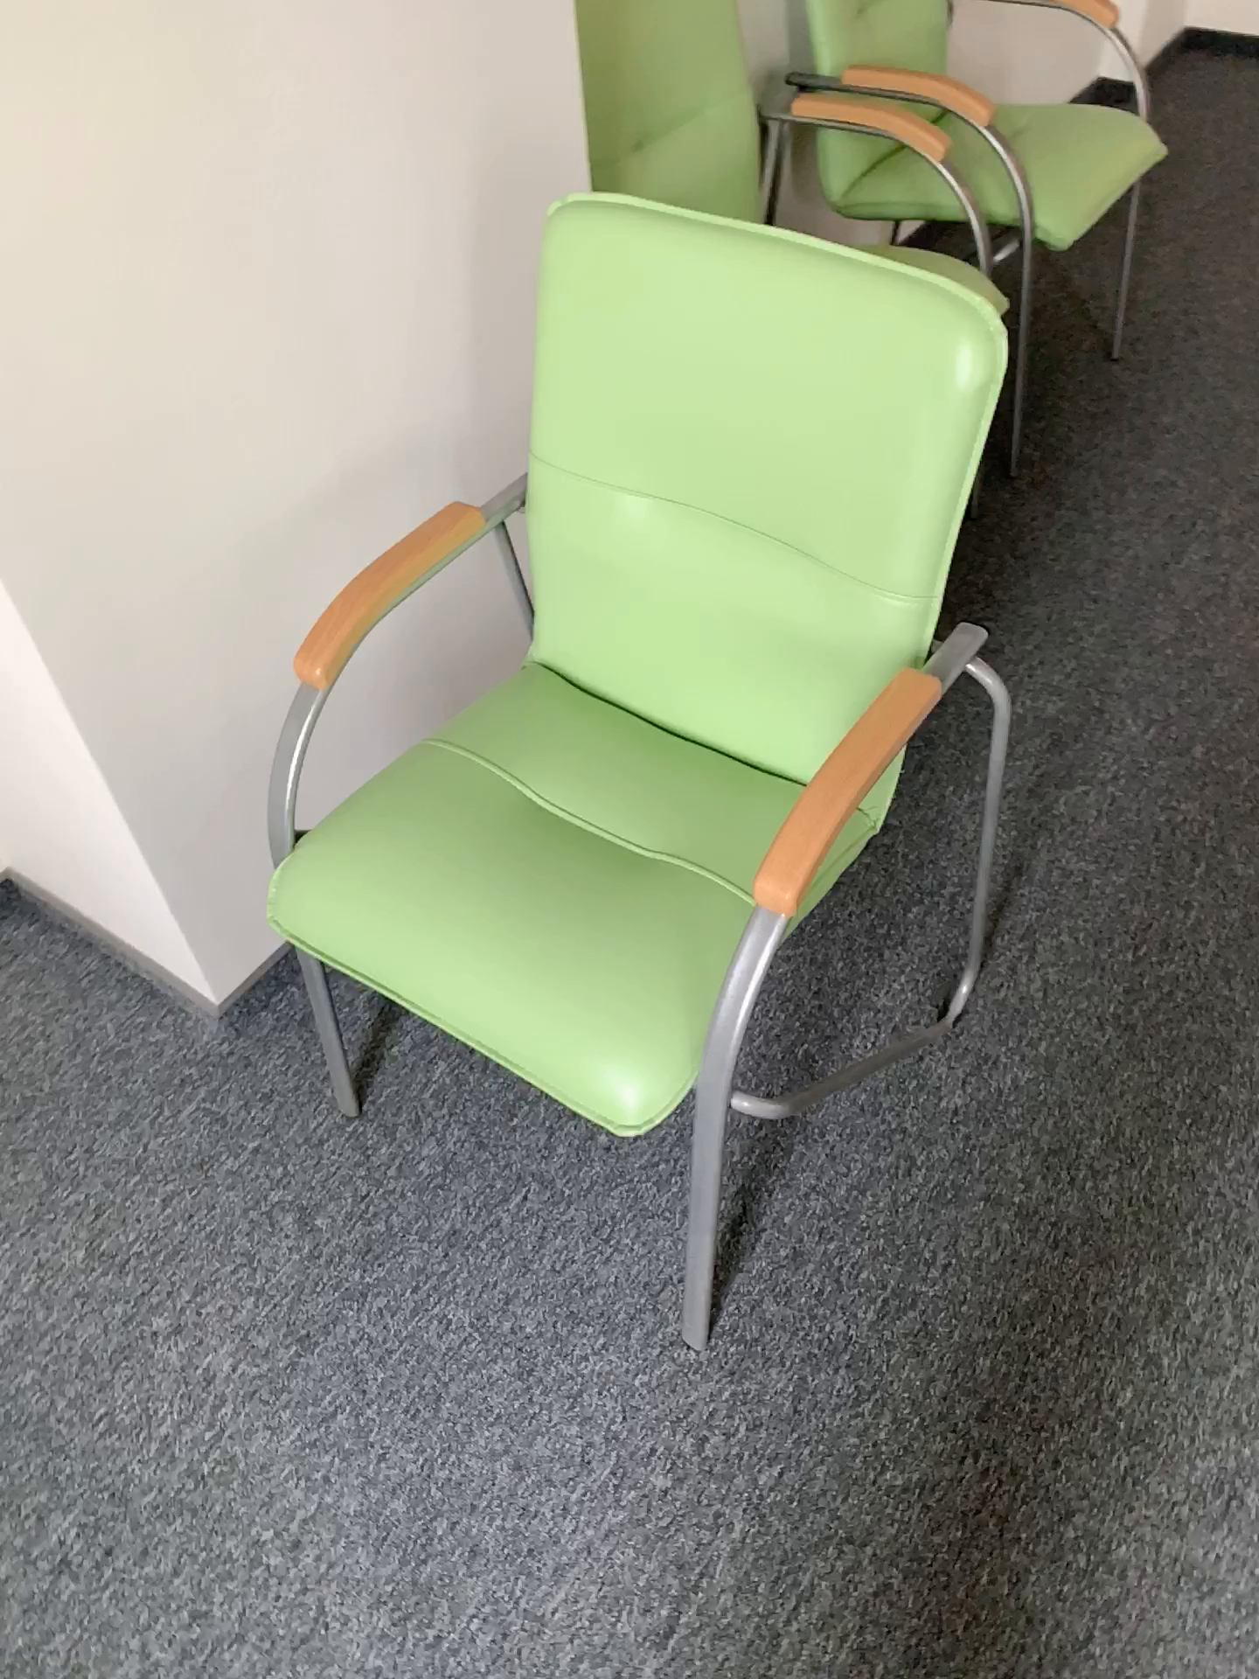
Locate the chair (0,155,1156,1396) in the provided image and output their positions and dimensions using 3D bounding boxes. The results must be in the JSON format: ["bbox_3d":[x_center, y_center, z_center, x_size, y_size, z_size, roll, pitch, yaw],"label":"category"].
[{"bbox_3d":[-0.005,-0.050,1.274,0.621,0.876,0.622,26,55,25],"label":"chair"}]
